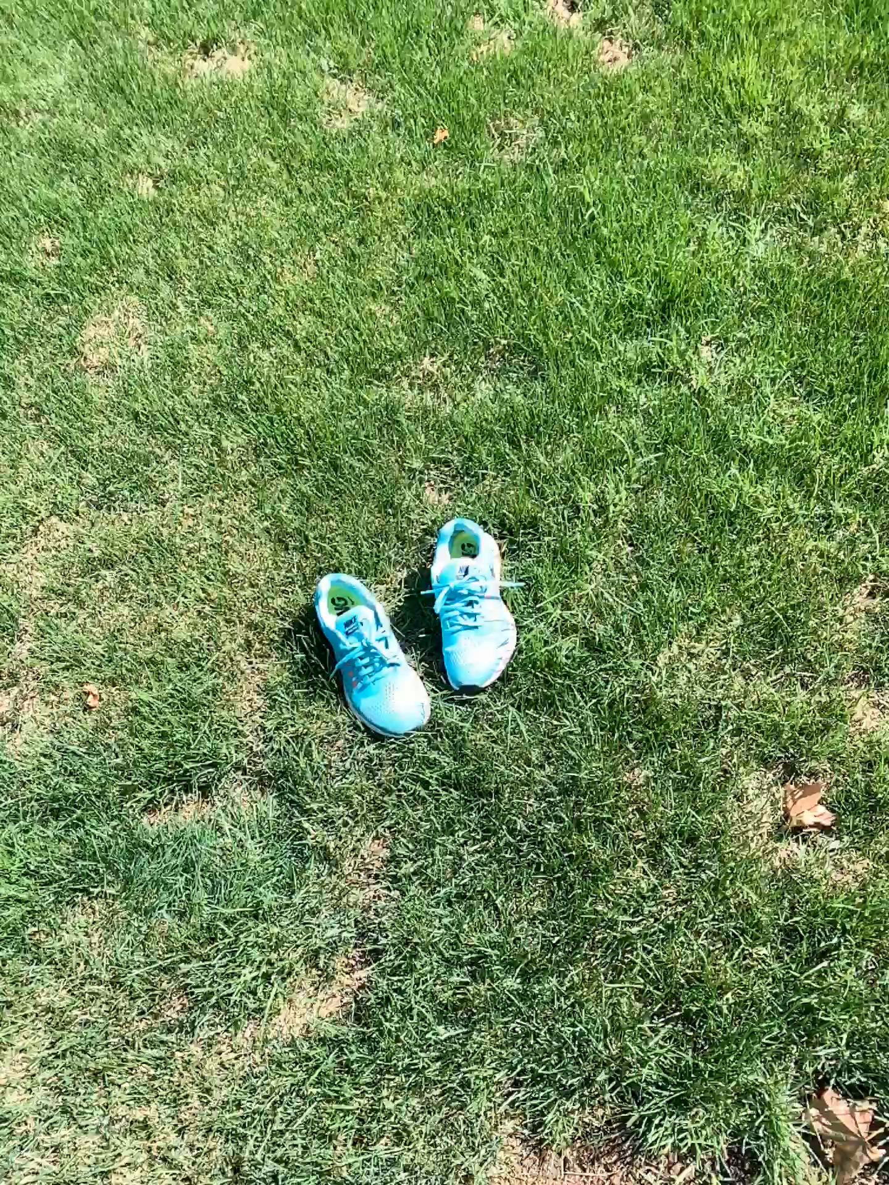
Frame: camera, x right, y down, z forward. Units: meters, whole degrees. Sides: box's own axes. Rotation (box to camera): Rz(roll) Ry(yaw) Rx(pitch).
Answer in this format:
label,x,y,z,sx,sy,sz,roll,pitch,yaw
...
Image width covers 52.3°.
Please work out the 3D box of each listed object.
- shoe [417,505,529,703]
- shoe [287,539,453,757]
label,x,y,z,sx,sy,sz,roll,pitch,yaw
shoe,0.036,0.013,1.223,0.120,0.070,0.251,-9,59,6
shoe,-0.103,0.071,1.228,0.120,0.090,0.261,-25,60,-7
